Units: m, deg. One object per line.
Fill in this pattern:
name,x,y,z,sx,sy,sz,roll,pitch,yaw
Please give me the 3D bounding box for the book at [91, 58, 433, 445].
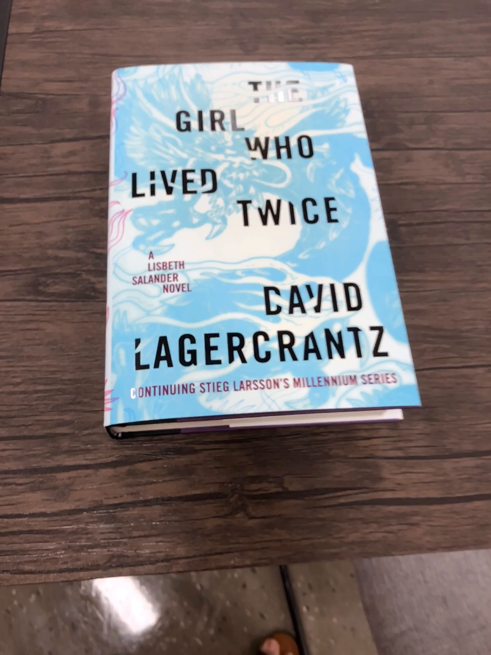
book,0.001,-0.058,0.335,0.170,0.040,0.240,-3,68,-4
